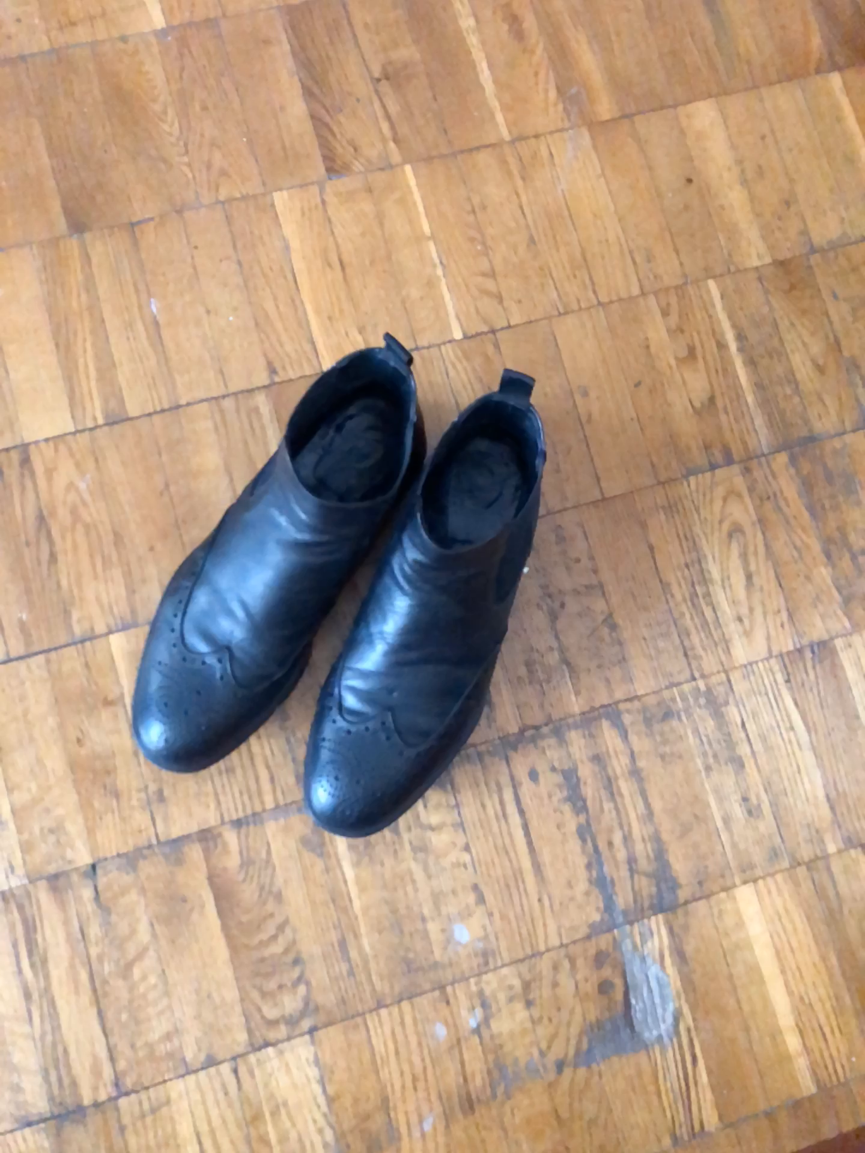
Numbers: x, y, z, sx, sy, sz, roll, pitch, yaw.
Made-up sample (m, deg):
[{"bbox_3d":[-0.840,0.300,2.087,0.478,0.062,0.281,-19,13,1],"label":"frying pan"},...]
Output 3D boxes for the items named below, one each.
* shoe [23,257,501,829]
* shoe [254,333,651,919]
[{"bbox_3d":[-0.092,-0.016,0.576,0.110,0.140,0.300,31,80,0],"label":"shoe"},{"bbox_3d":[0.010,0.029,0.581,0.110,0.140,0.300,23,80,-2],"label":"shoe"}]
